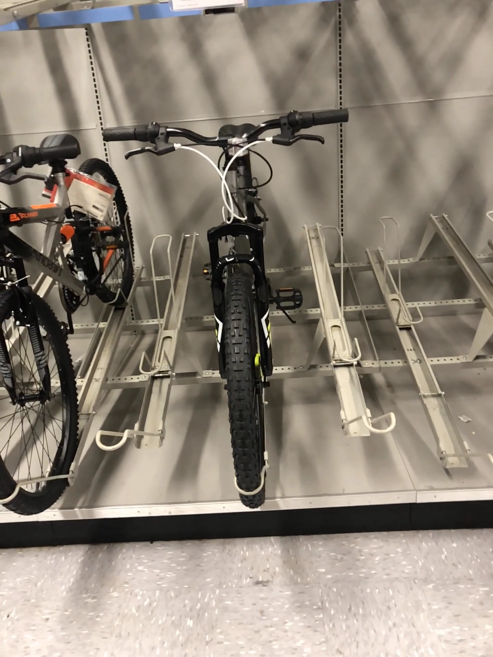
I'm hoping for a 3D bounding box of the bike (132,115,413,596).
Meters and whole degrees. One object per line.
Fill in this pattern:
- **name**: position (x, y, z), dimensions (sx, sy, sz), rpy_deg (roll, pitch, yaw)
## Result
- **bike**: position (0.085, -0.146, 1.997), dimensions (0.607, 0.728, 1.726), rpy_deg (-4, 33, 4)
